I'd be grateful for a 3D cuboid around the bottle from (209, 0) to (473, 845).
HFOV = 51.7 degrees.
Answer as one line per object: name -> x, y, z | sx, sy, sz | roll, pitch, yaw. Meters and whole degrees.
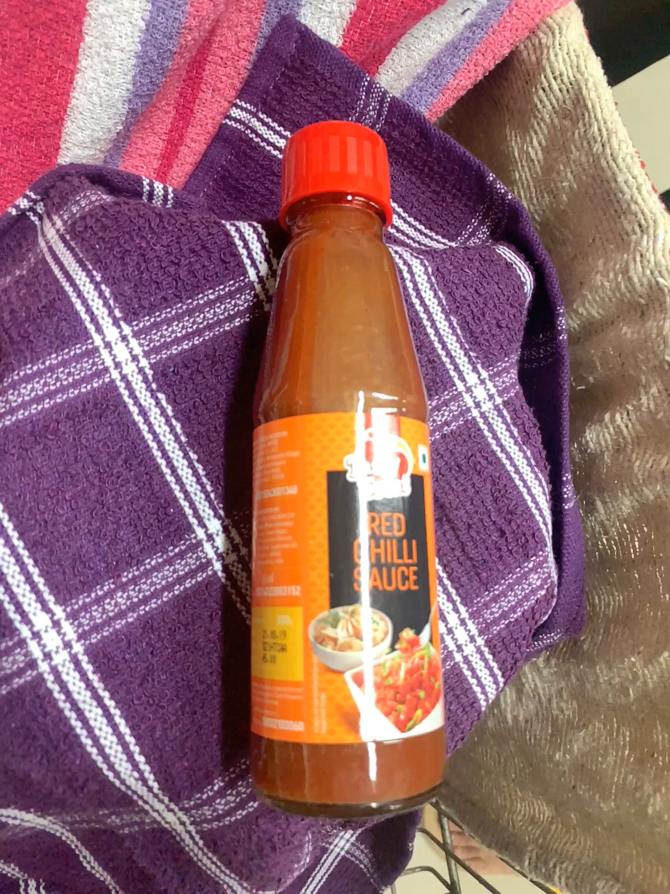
bottle -> -0.003, -0.010, 0.171 | 0.050, 0.040, 0.180 | 1, 81, -19
